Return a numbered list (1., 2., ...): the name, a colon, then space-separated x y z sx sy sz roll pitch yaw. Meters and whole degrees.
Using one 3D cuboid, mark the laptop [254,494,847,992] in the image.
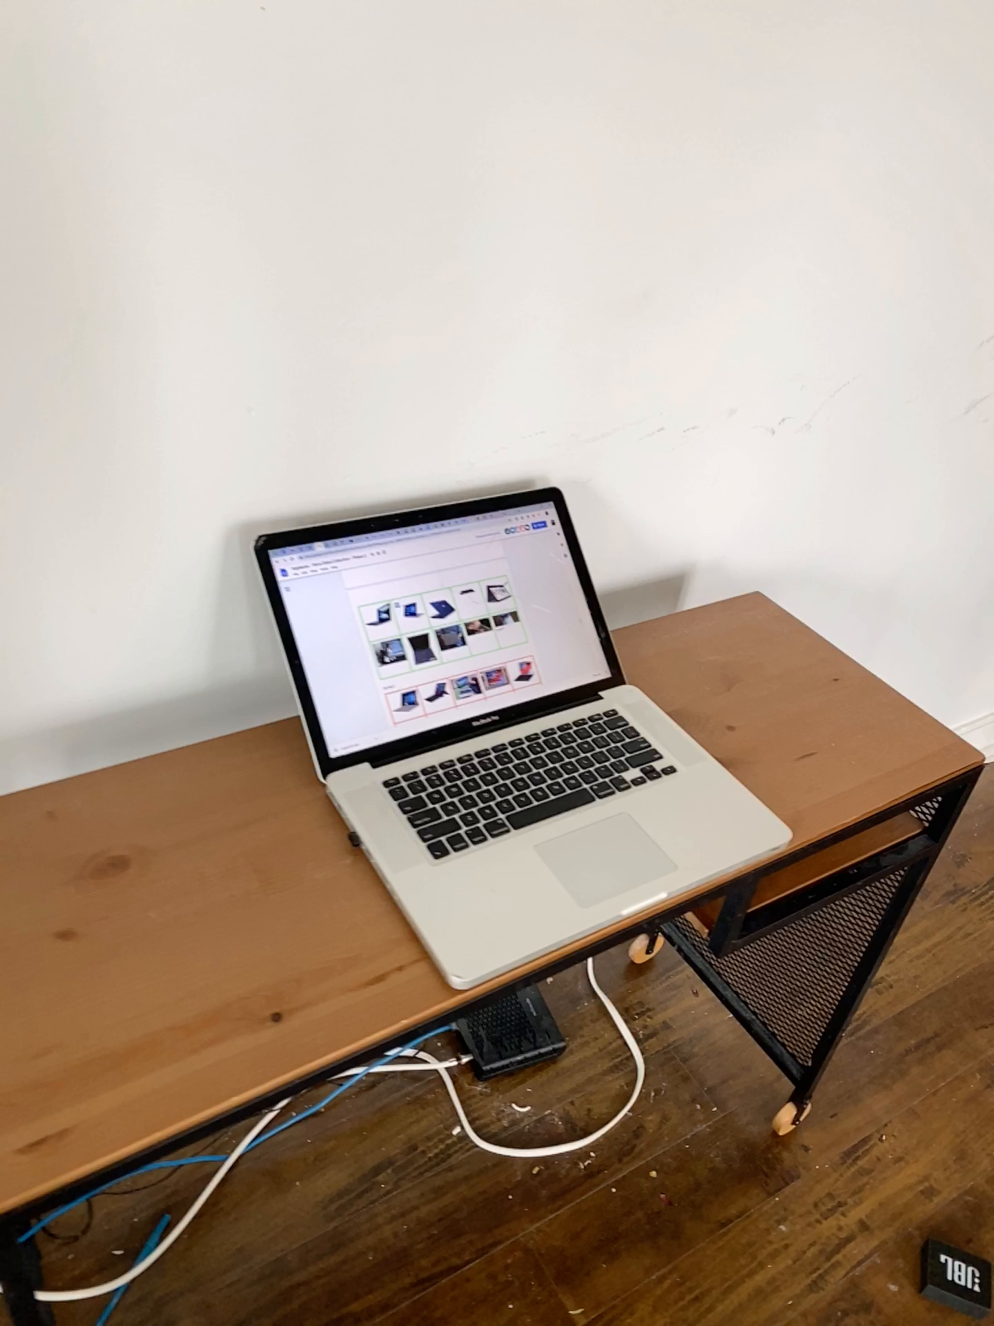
1. laptop: 0.025 0.029 0.966 0.368 0.151 0.440 -14 42 -29
